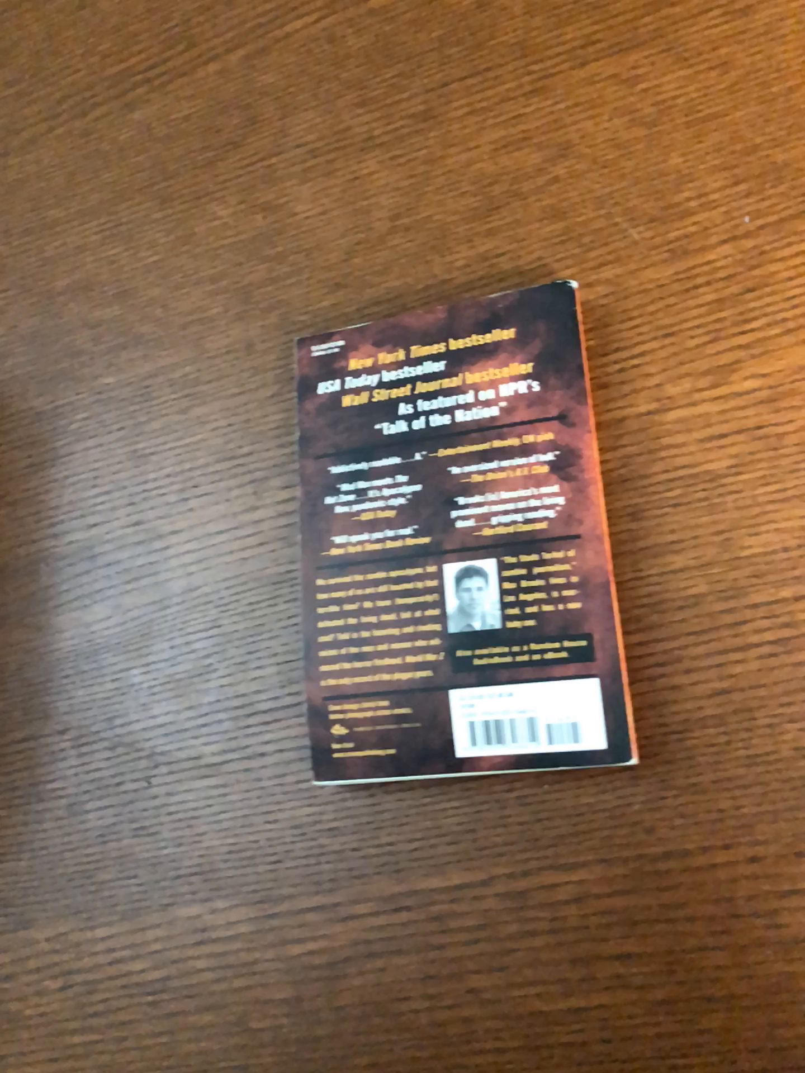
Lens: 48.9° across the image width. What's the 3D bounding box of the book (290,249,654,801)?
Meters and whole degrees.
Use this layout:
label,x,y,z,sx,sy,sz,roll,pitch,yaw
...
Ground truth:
label,x,y,z,sx,sy,sz,roll,pitch,yaw
book,0.023,-0.004,0.381,0.140,0.030,0.220,-7,75,17
